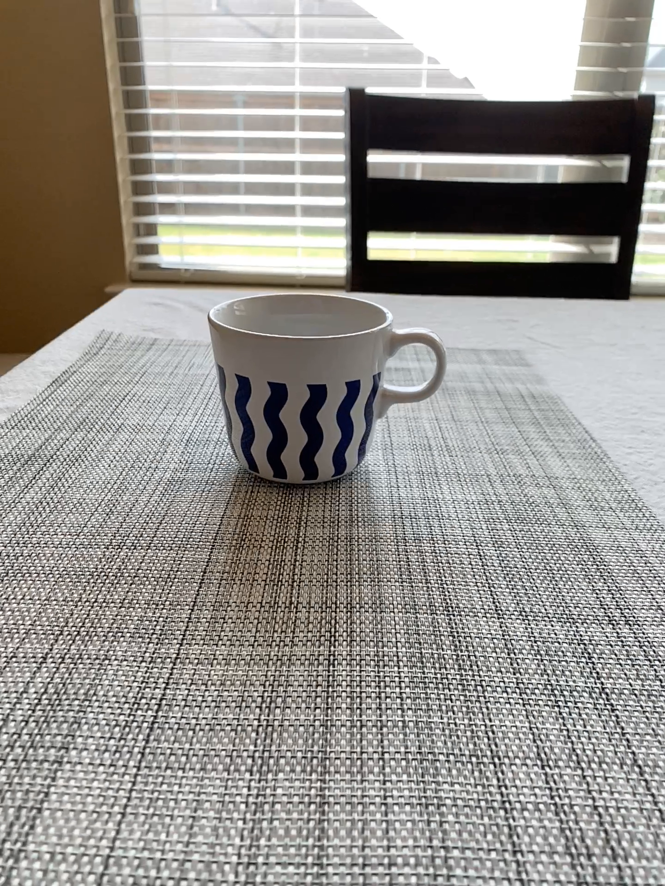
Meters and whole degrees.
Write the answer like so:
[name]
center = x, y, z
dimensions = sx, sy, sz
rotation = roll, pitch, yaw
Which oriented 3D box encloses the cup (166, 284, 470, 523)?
[cup]
center = -0.002, -0.025, 0.319
dimensions = 0.112, 0.072, 0.087
rotation = 8, 25, 16
